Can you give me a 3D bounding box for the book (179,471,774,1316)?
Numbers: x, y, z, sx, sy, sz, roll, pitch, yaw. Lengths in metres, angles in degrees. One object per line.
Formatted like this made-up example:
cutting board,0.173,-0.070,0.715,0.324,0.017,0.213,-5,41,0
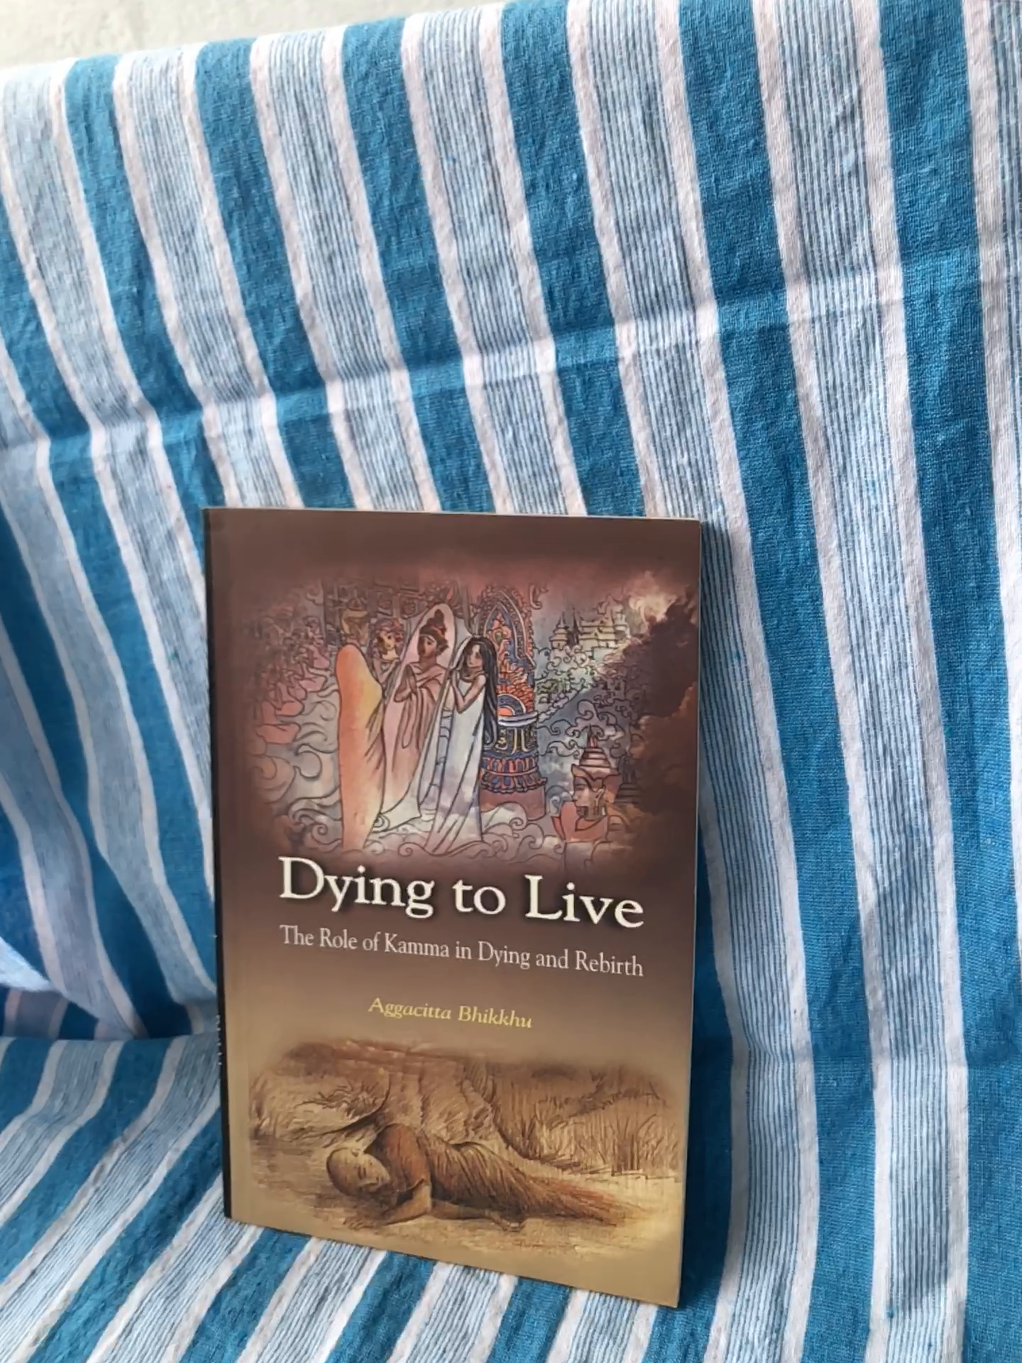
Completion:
book,-0.014,0.053,0.310,0.150,0.210,0.020,5,6,12
